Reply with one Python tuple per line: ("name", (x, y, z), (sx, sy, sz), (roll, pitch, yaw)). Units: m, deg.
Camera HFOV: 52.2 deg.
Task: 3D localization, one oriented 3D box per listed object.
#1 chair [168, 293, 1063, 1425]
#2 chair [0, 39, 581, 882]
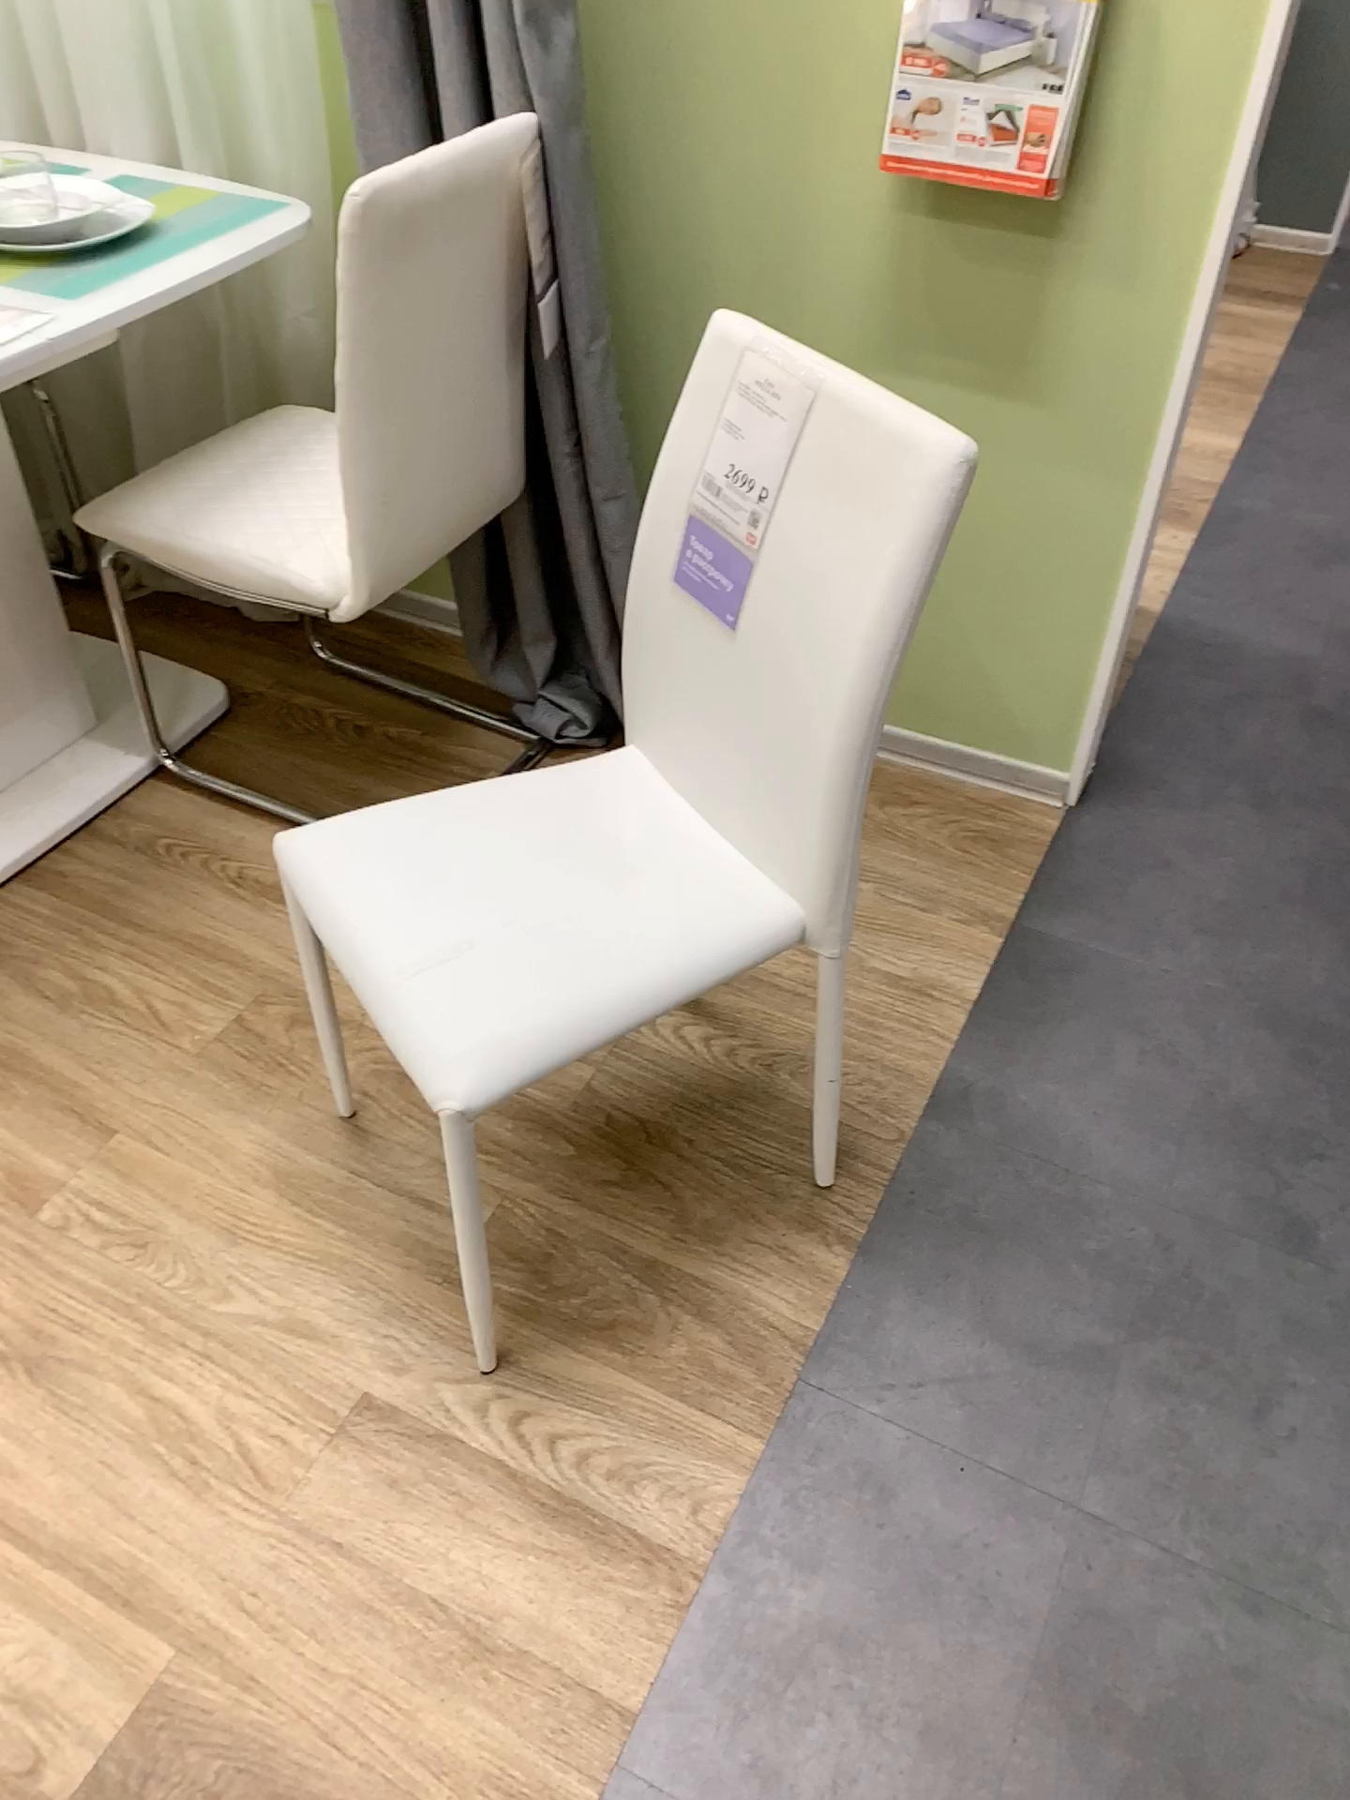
("chair", (-0.065, -0.019, 1.388), (0.551, 0.925, 0.452), (-22, 47, -24))
("chair", (-0.503, -0.602, 1.952), (0.560, 0.945, 0.452), (20, 45, 20))
